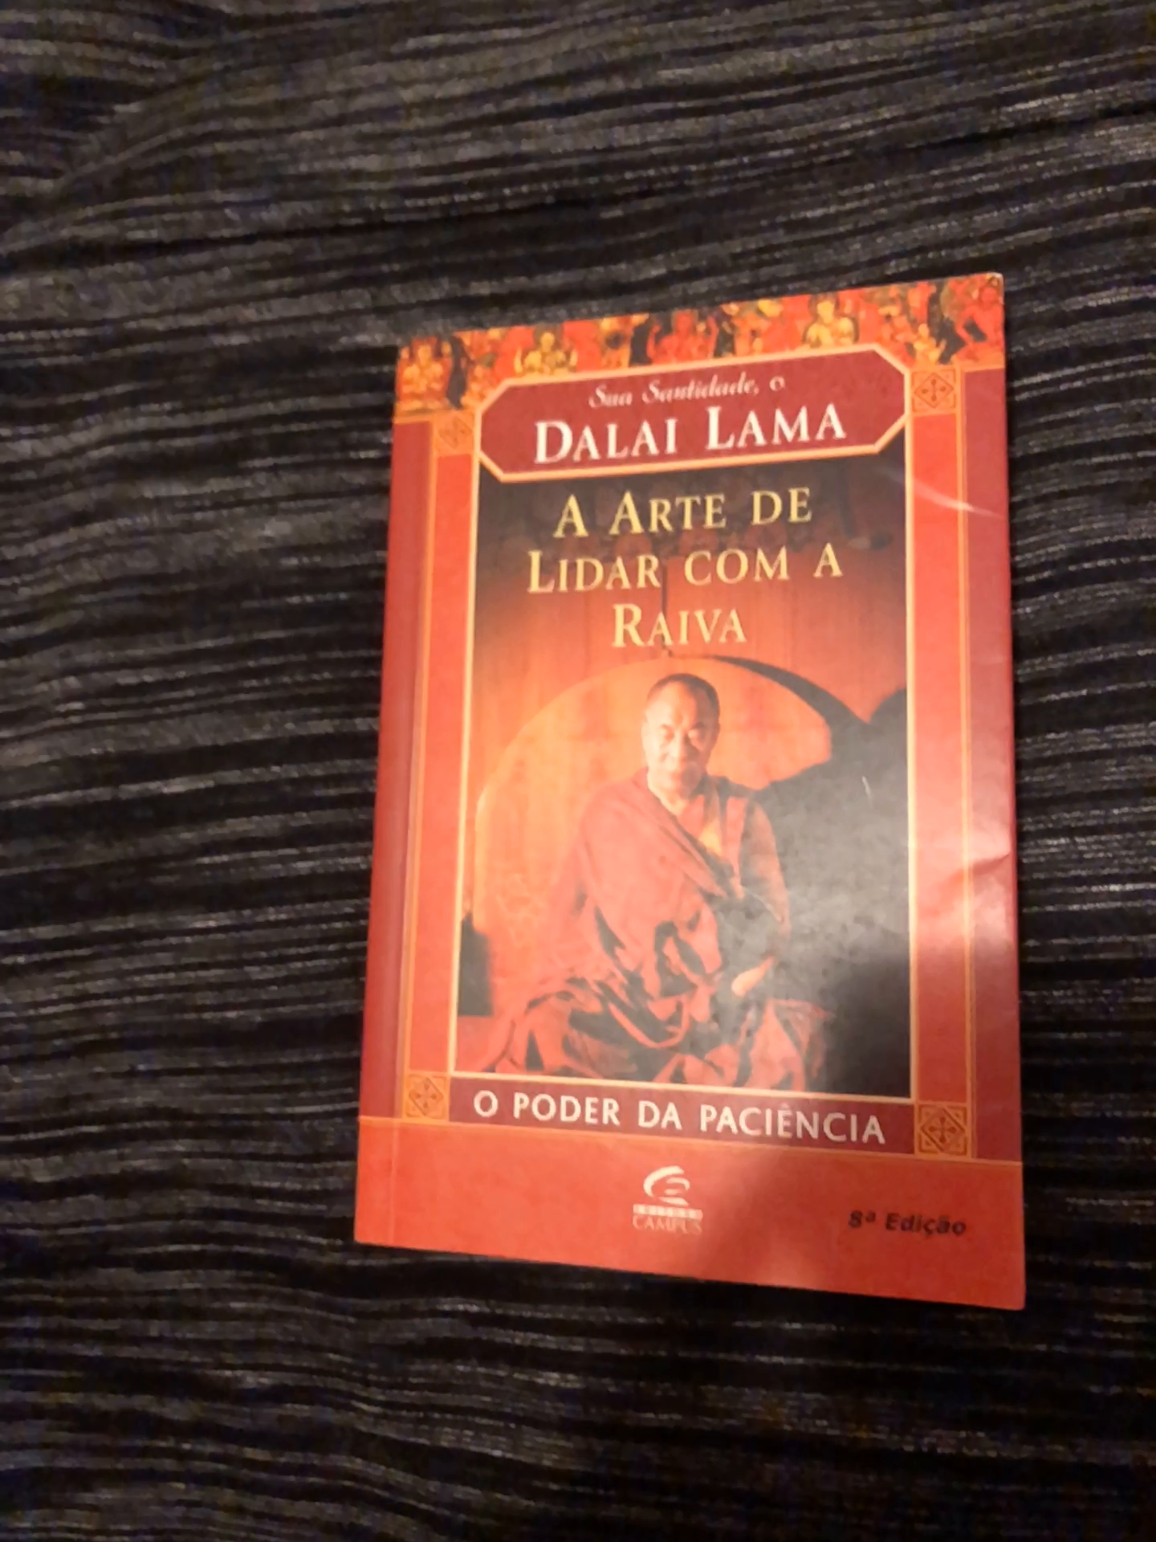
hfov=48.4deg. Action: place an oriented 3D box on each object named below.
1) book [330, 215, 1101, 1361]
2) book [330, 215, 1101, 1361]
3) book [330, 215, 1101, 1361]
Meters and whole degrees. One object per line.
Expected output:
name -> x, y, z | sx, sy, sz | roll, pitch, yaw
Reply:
book -> 0.028, -0.001, 0.279 | 0.150, 0.030, 0.220 | -1, 81, 16
book -> 0.028, -0.001, 0.279 | 0.150, 0.030, 0.220 | -1, 81, 16
book -> 0.028, -0.001, 0.279 | 0.150, 0.030, 0.220 | -1, 81, 16
